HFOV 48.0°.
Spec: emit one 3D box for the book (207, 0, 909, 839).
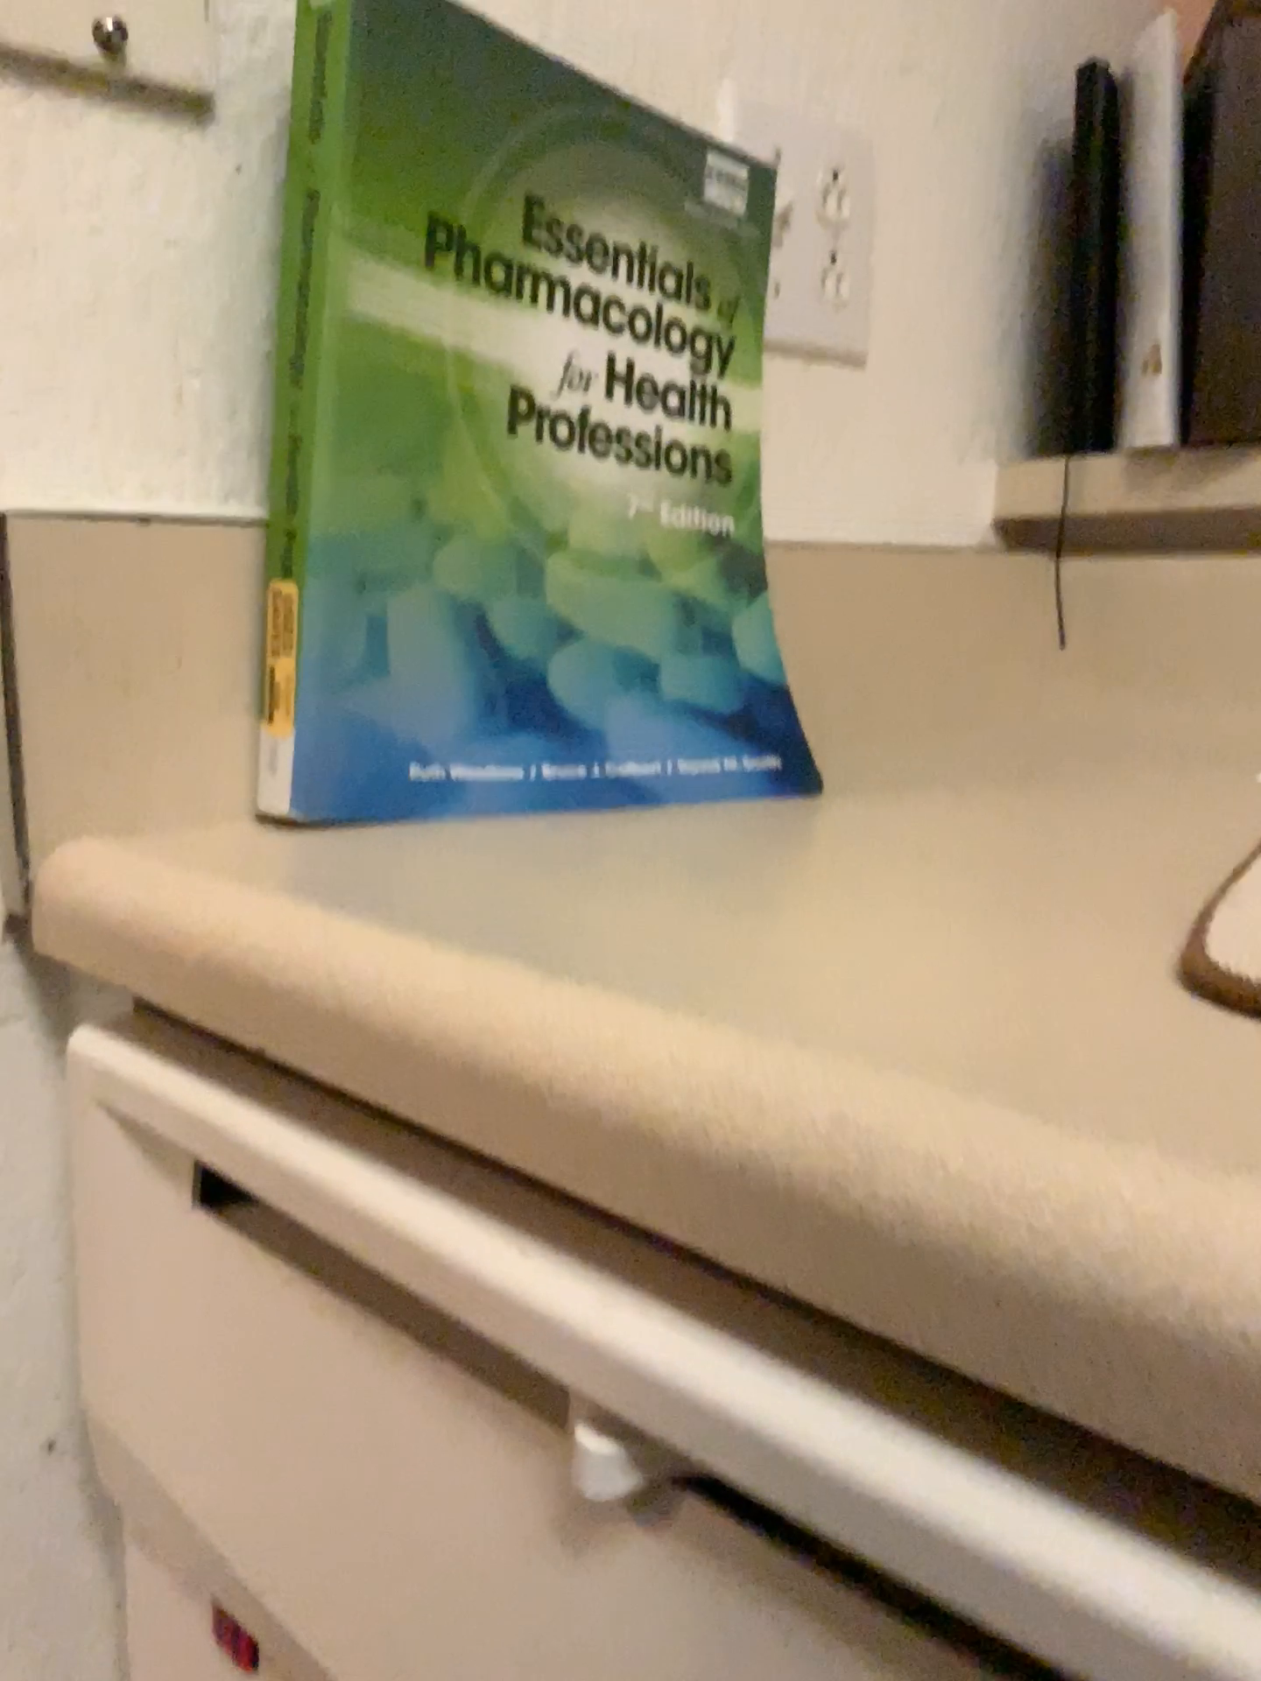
[{"bbox_3d":[-0.020,-0.148,0.516,0.240,0.270,0.090,-5,11,-39],"label":"book"}]
